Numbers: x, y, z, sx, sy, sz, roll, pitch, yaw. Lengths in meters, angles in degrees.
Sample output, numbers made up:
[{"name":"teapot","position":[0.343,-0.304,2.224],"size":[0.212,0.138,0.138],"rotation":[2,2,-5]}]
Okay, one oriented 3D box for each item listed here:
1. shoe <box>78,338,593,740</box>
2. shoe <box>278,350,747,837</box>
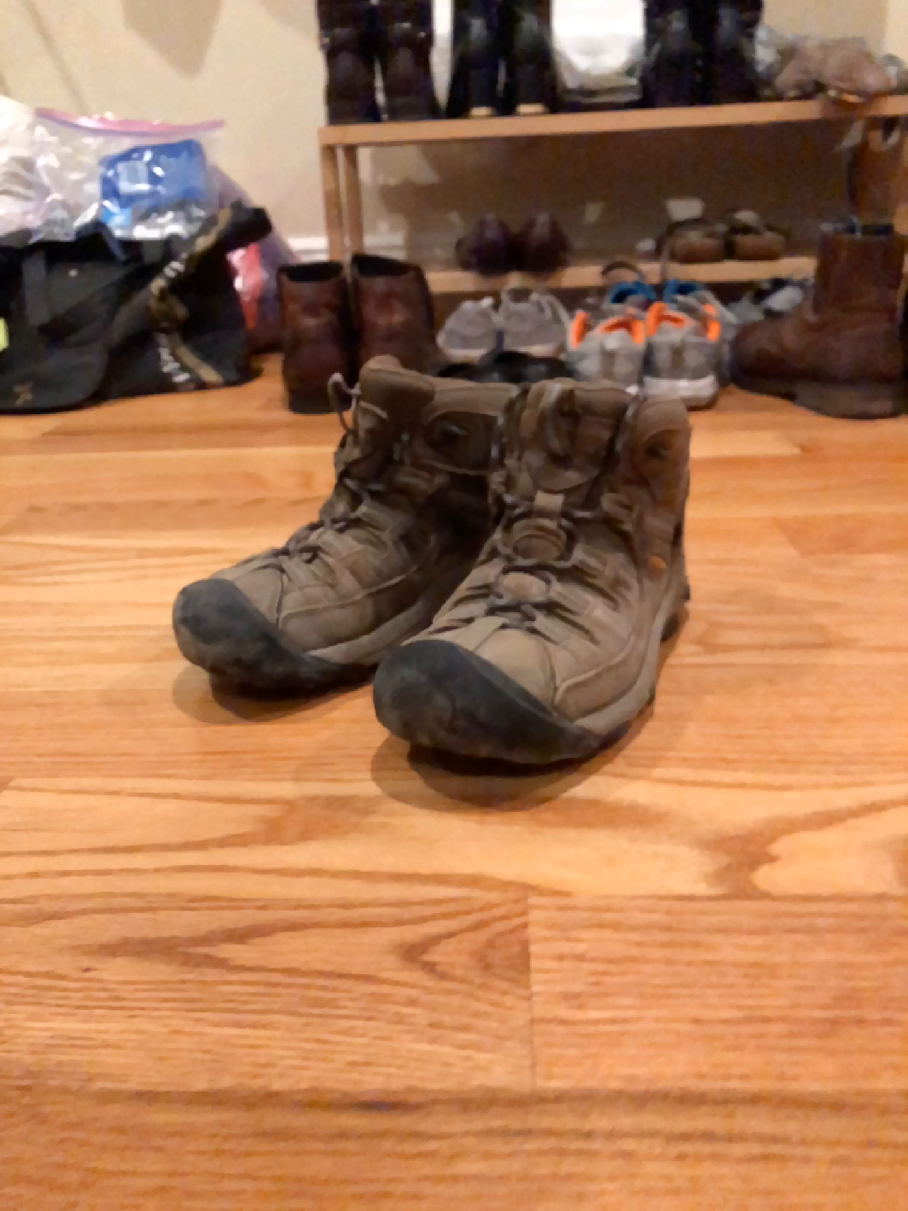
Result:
[{"name":"shoe","position":[-0.047,-0.055,0.556],"size":[0.260,0.139,0.108],"rotation":[-23,30,-40]},{"name":"shoe","position":[0.047,-0.031,0.488],"size":[0.108,0.139,0.260],"rotation":[10,26,29]}]
